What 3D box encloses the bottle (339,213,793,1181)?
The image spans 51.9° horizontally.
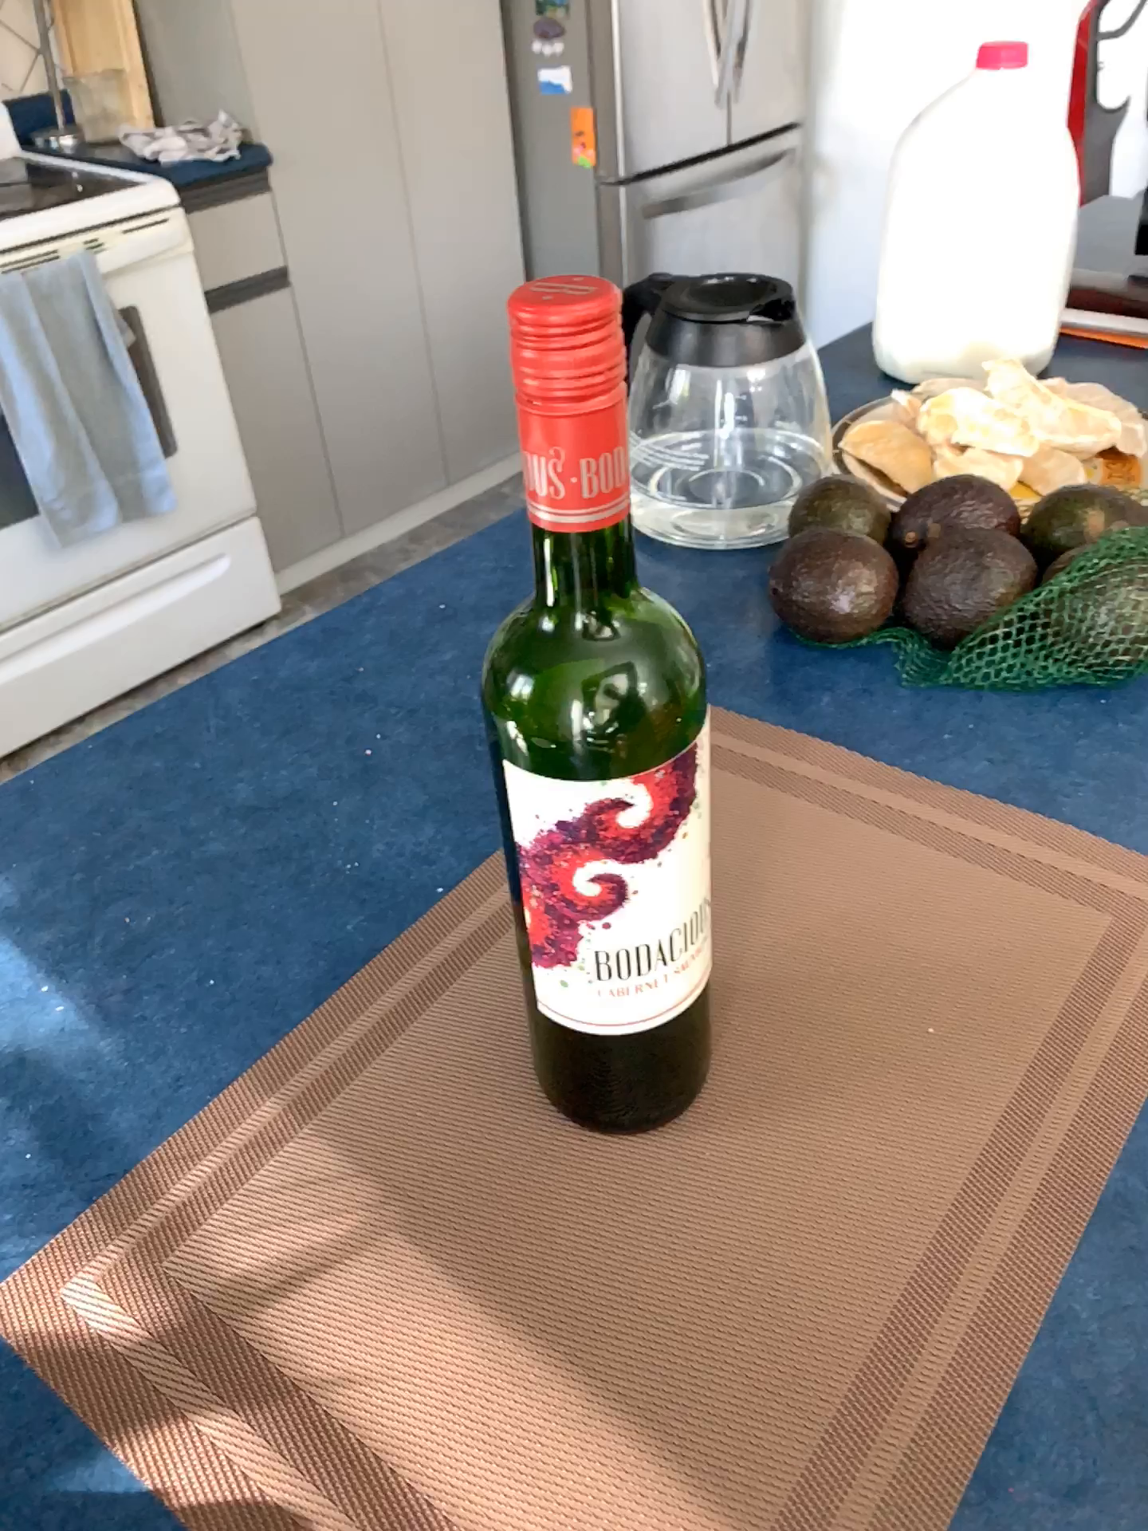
[{"bbox_3d":[0.007,-0.004,0.380,0.080,0.297,0.080,-3,37,2],"label":"bottle"}]
